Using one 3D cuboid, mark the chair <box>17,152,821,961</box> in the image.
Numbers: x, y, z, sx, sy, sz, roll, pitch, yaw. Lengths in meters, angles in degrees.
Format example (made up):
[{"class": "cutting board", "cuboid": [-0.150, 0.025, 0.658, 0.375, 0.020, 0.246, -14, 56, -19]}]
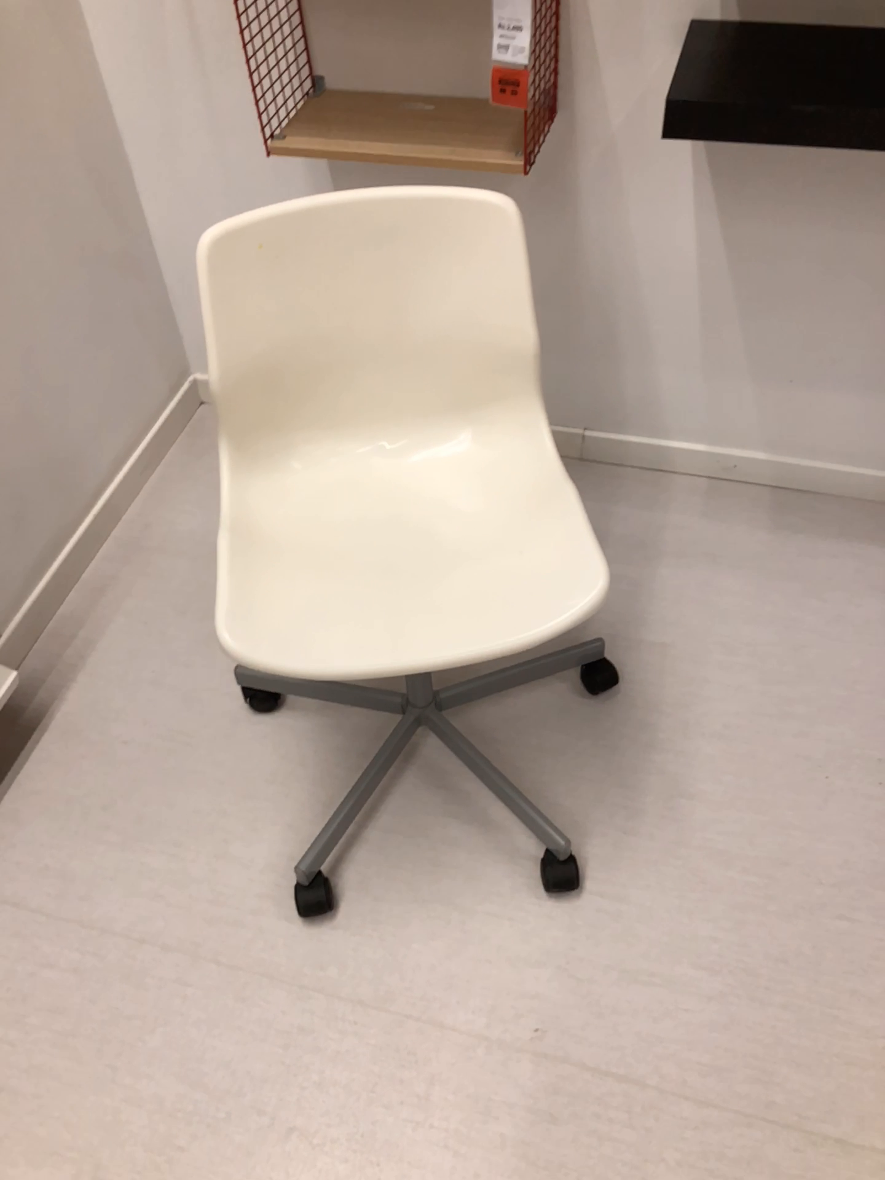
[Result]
[{"class": "chair", "cuboid": [-0.036, -0.025, 1.207, 0.620, 0.686, 0.624, -8, 49, -3]}]
